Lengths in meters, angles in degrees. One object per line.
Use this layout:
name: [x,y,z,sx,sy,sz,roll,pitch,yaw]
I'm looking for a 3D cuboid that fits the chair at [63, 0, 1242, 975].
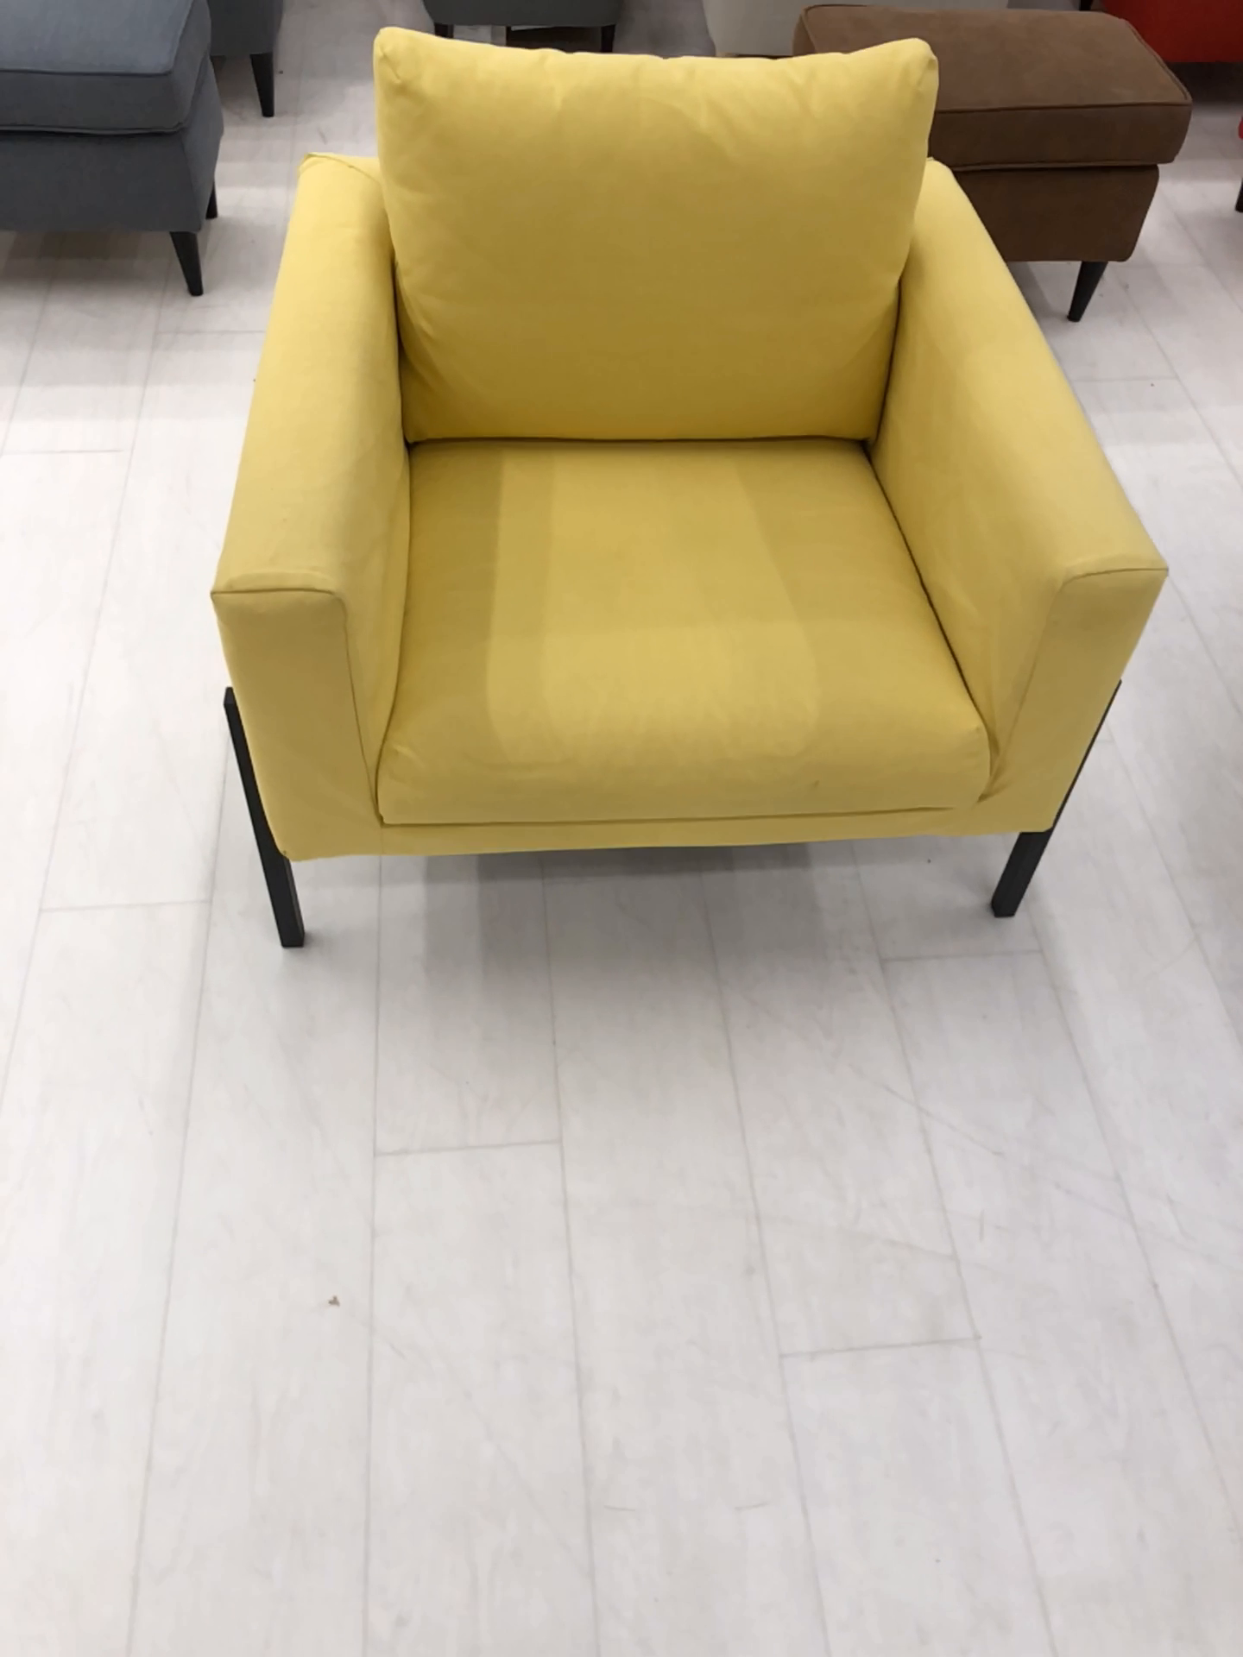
chair: [0.050,-0.365,1.502,0.980,0.758,0.692,-3,52,-6]
